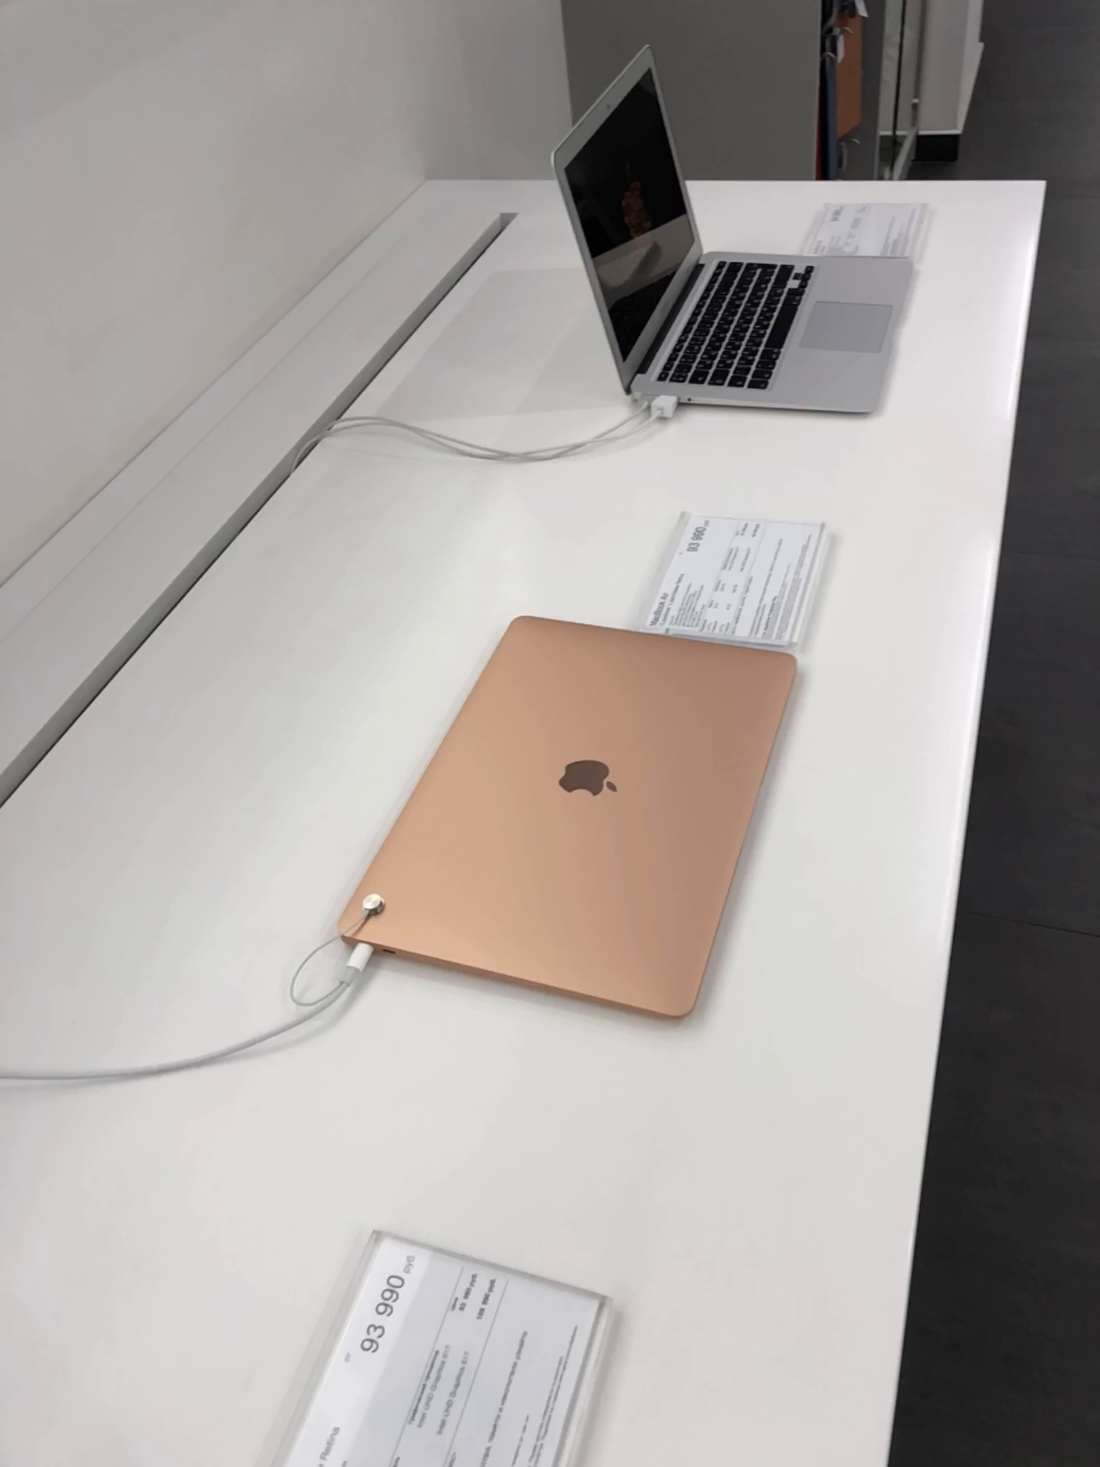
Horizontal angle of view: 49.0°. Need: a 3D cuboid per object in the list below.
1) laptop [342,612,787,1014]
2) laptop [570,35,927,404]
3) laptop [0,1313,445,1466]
[{"bbox_3d":[0.022,0.029,0.761,0.201,0.005,0.295,10,46,17],"label":"laptop"},{"bbox_3d":[0.200,-0.492,1.138,0.257,0.213,0.347,7,43,15],"label":"laptop"},{"bbox_3d":[-0.239,0.377,0.292,0.312,0.180,0.304,10,46,17],"label":"laptop"}]
